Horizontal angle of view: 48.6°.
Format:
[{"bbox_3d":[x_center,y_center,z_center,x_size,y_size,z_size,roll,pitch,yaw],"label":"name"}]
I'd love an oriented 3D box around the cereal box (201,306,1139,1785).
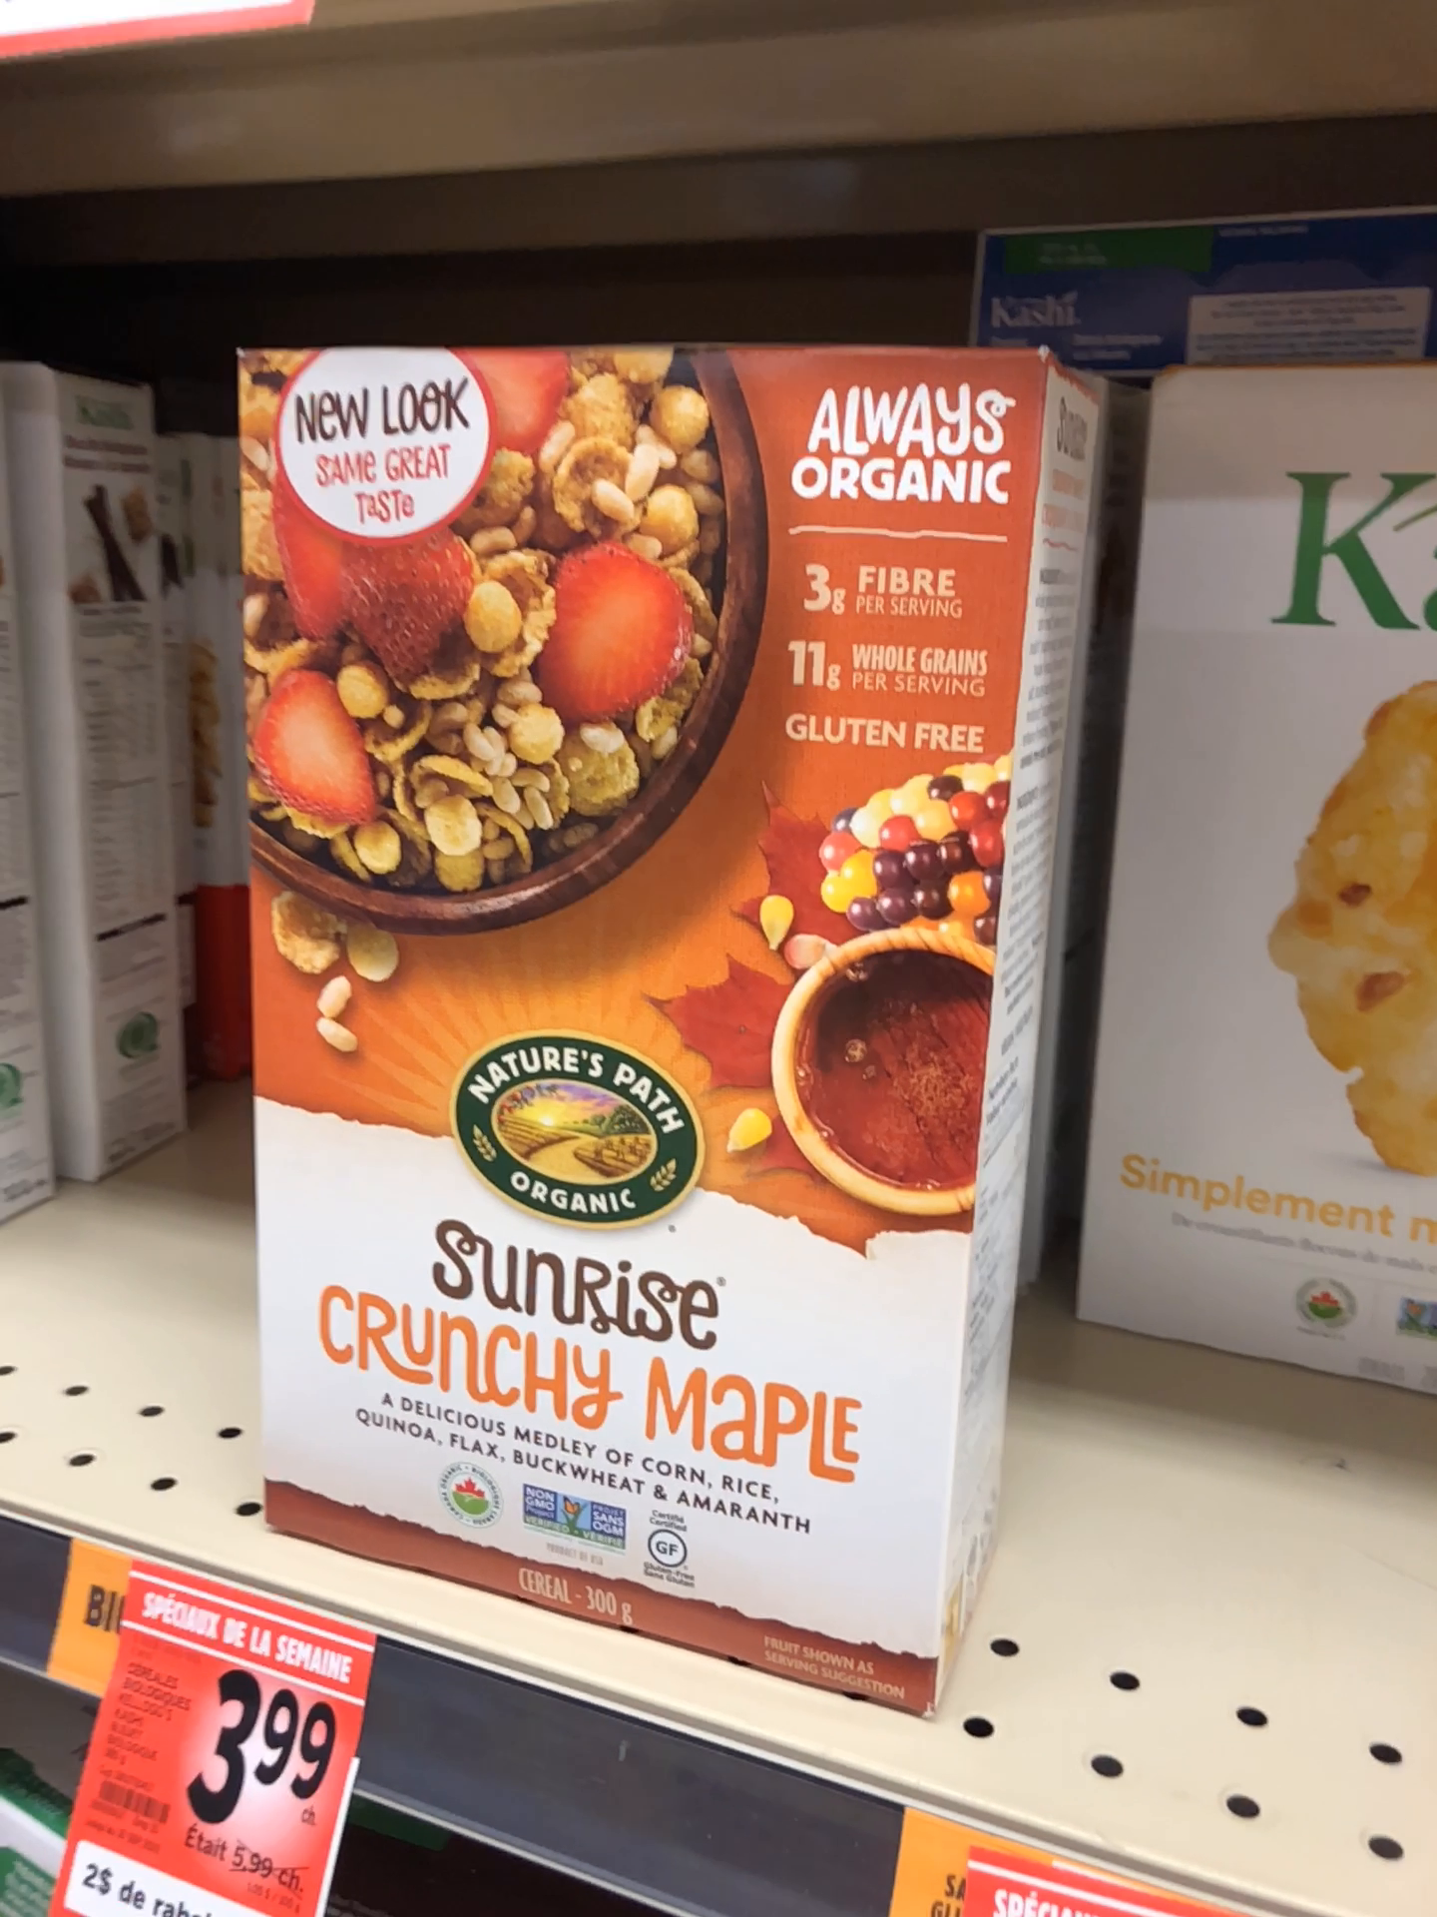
[{"bbox_3d":[-0.015,0.012,0.335,0.170,0.269,0.060,7,14,20],"label":"cereal box"}]
